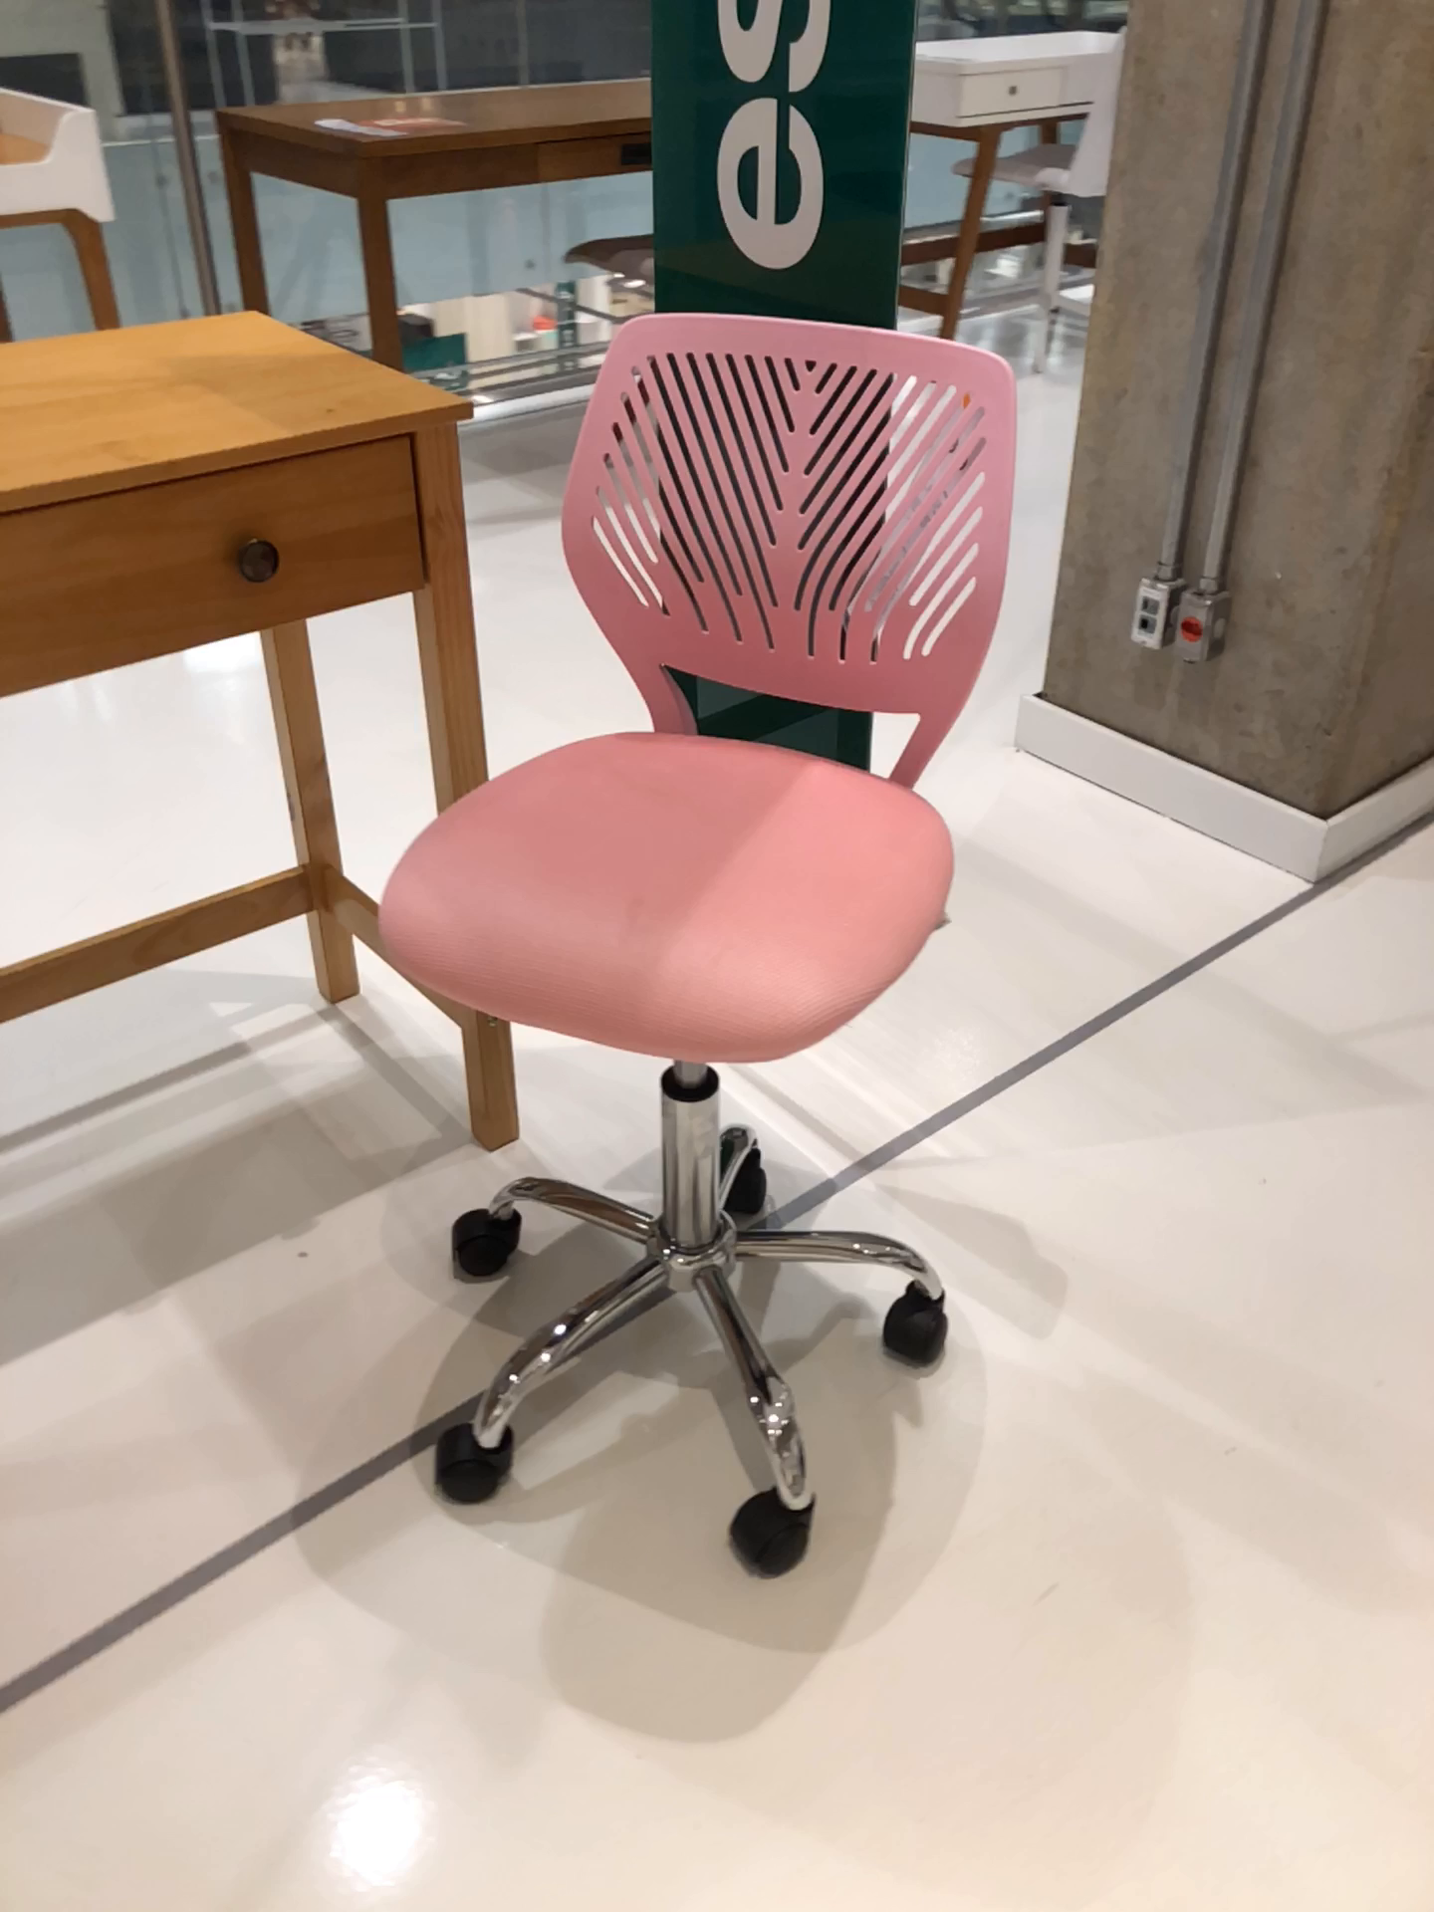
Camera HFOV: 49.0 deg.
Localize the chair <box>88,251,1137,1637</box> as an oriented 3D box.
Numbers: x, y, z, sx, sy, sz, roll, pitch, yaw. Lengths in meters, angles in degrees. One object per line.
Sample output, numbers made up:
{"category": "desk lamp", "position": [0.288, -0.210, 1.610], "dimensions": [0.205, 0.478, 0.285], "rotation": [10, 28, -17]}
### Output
{"category": "chair", "position": [-0.018, -0.028, 1.198], "dimensions": [0.500, 0.833, 0.524], "rotation": [10, 34, 13]}
